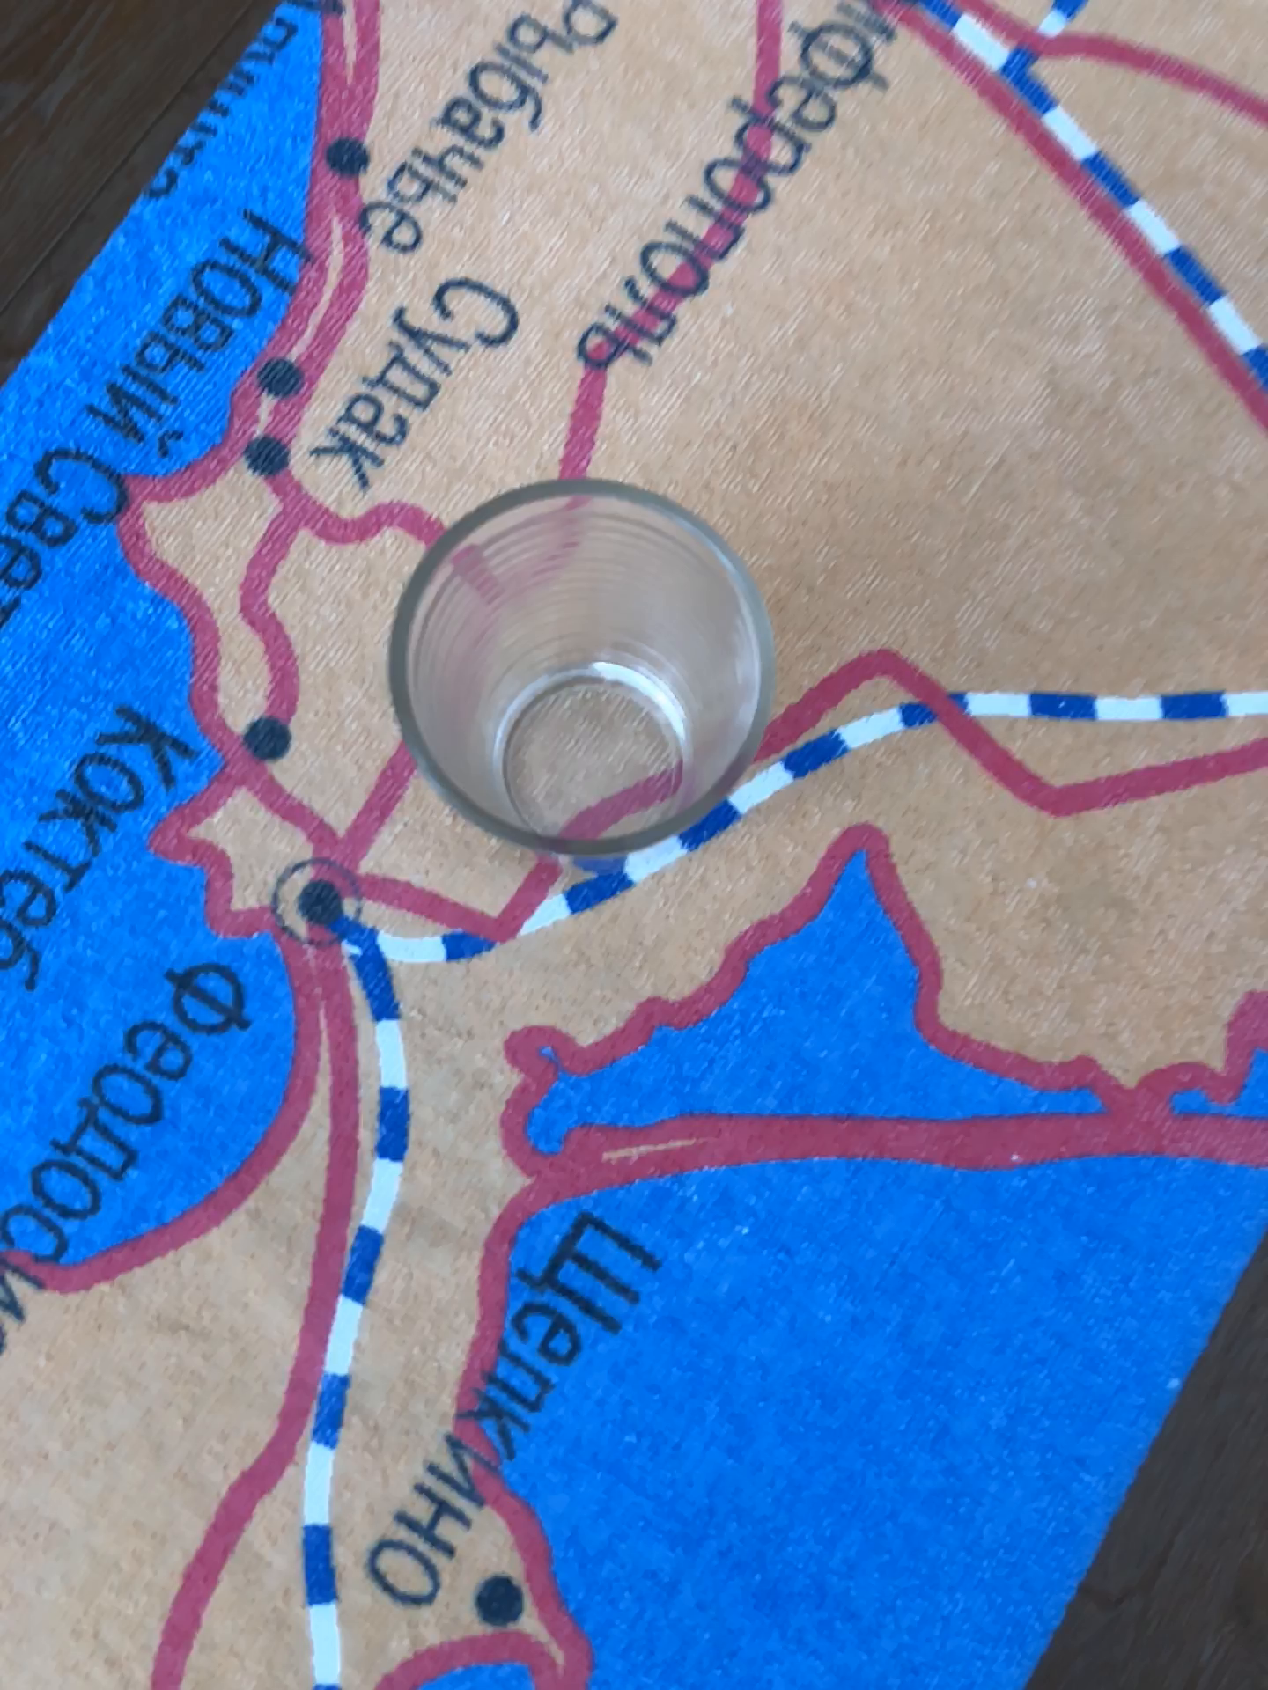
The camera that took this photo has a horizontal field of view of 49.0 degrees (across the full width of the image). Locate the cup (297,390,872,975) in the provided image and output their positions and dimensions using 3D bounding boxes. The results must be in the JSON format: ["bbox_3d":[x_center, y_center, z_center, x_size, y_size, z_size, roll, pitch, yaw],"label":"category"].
[{"bbox_3d":[-0.010,-0.024,0.281,0.070,0.100,0.068,0,82,-2],"label":"cup"}]
